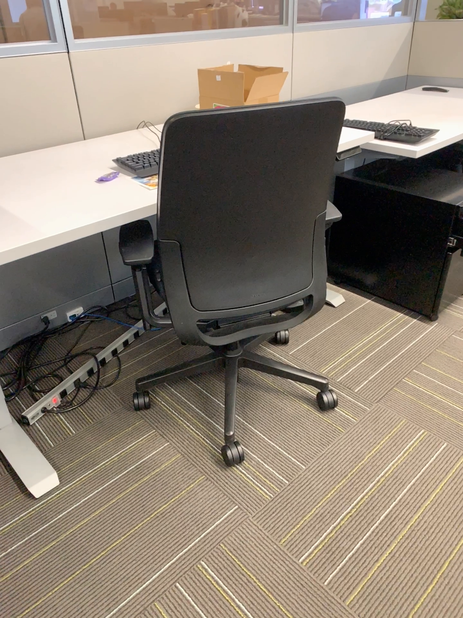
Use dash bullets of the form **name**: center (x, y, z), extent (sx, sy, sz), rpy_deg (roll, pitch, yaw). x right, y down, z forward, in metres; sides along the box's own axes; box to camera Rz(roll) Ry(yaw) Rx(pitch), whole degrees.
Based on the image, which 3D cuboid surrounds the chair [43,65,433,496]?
- **chair**: center (-0.022, -0.170, 1.444), extent (0.701, 0.934, 0.754), rpy_deg (-19, 35, -25)
